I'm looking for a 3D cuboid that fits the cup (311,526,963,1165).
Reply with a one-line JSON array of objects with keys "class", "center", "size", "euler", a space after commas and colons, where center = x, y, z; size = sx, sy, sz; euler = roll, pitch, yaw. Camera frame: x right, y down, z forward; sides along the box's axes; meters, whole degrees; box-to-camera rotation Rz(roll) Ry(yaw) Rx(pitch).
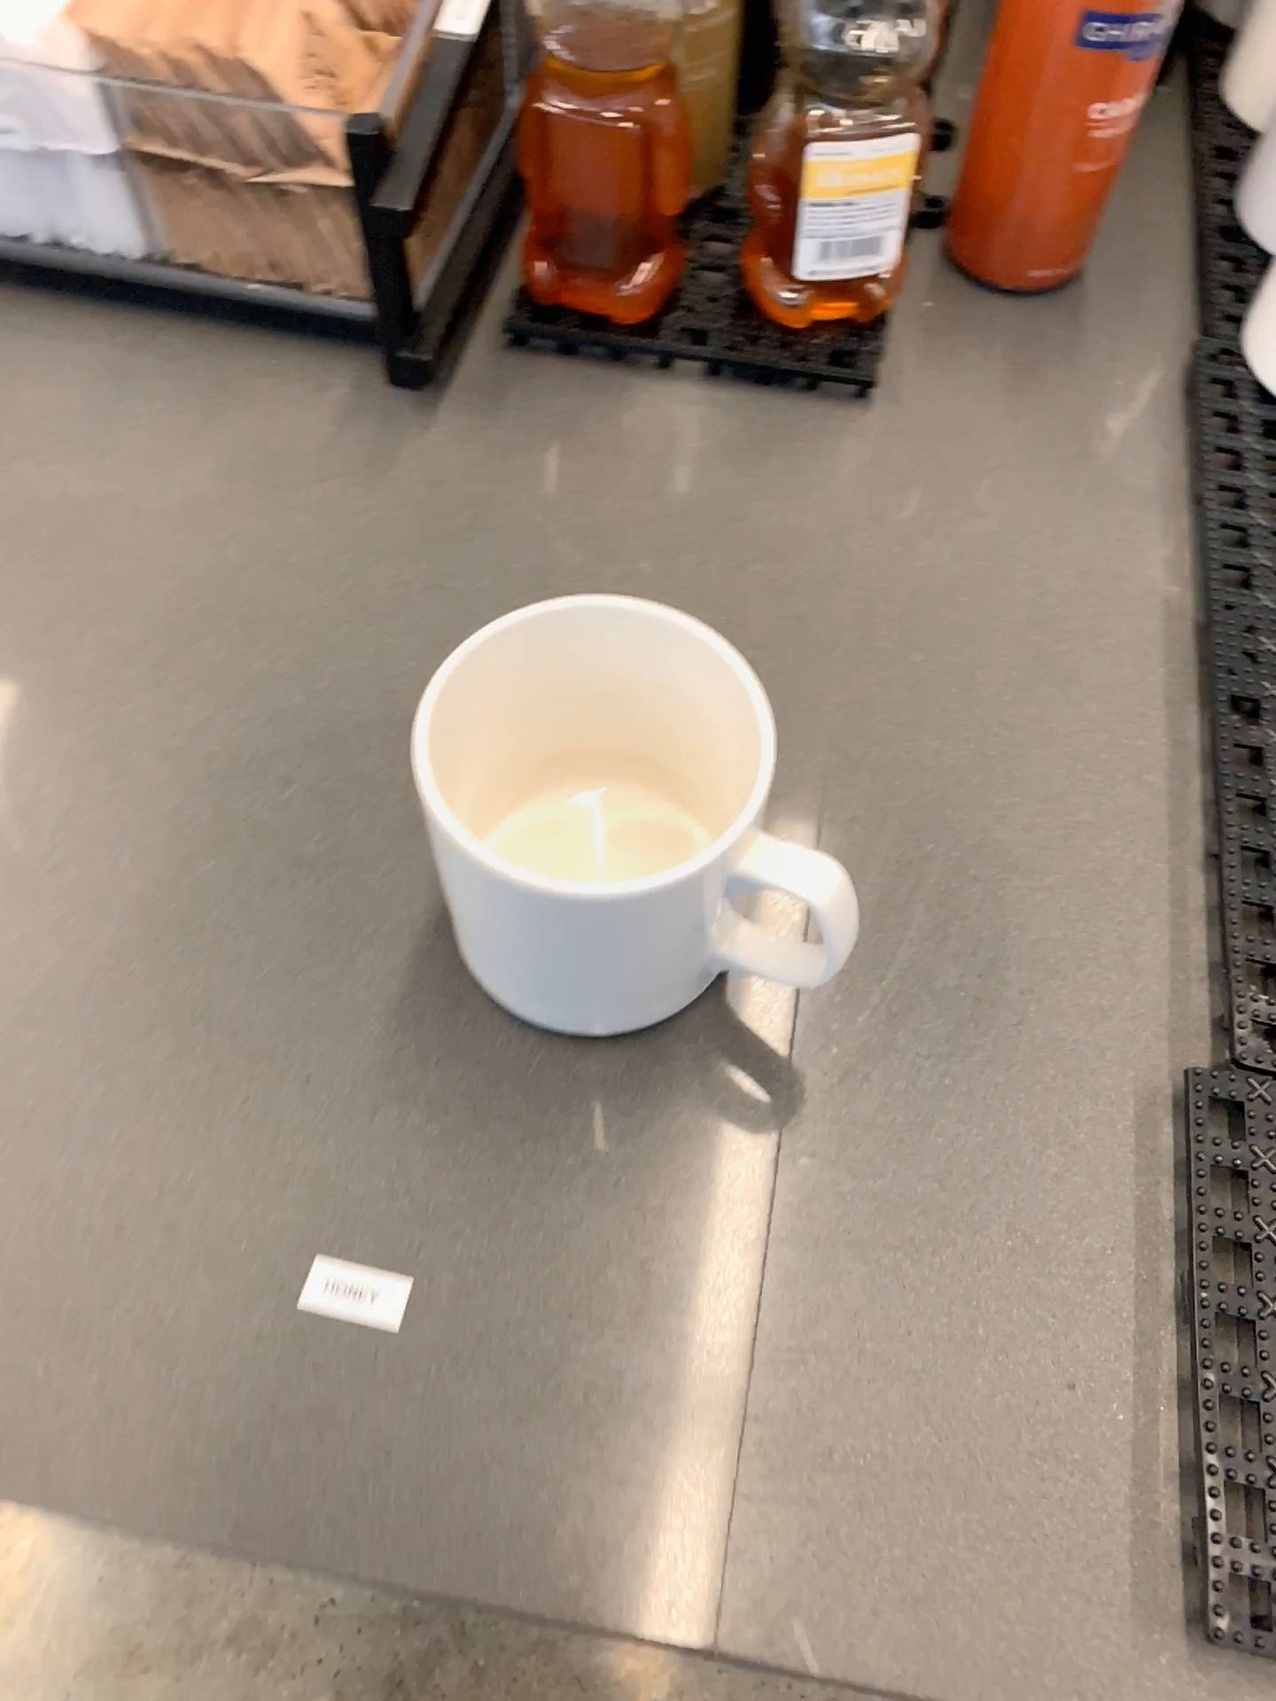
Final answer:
[{"class": "cup", "center": [0.000, 0.000, 0.338], "size": [0.120, 0.090, 0.090], "euler": [26, 62, 13]}]
